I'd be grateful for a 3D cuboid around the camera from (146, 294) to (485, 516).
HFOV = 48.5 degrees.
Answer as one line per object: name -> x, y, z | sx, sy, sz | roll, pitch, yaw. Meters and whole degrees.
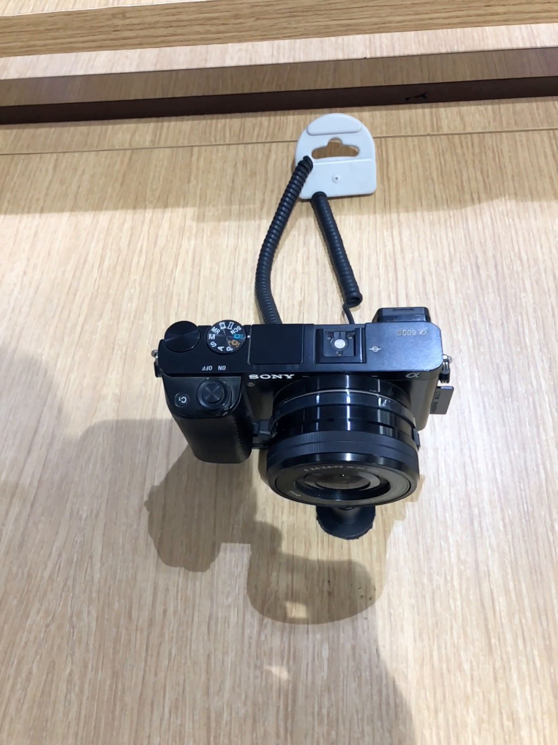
camera -> 0.014, 0.016, 0.240 | 0.107, 0.070, 0.059 | -2, 60, 5
